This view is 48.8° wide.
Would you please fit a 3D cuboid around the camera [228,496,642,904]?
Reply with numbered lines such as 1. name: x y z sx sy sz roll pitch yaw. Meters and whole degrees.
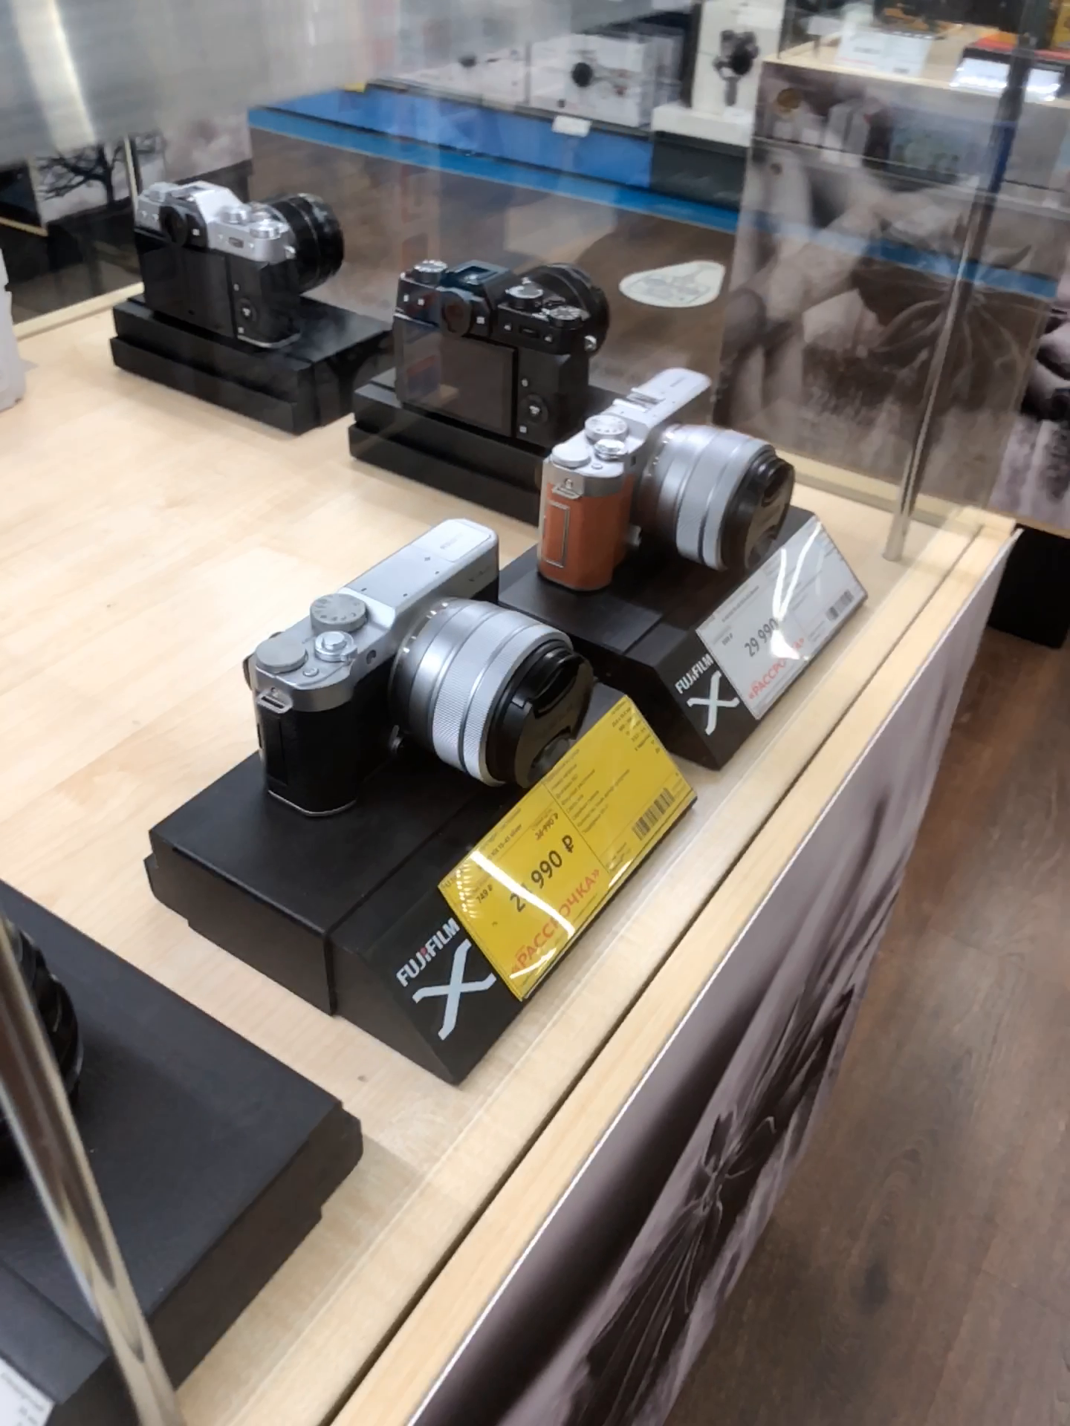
1. camera: -0.032 -0.011 0.432 0.088 0.072 0.120 24 43 25

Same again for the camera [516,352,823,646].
1. camera: 0.064 -0.107 0.563 0.088 0.072 0.128 24 43 25
